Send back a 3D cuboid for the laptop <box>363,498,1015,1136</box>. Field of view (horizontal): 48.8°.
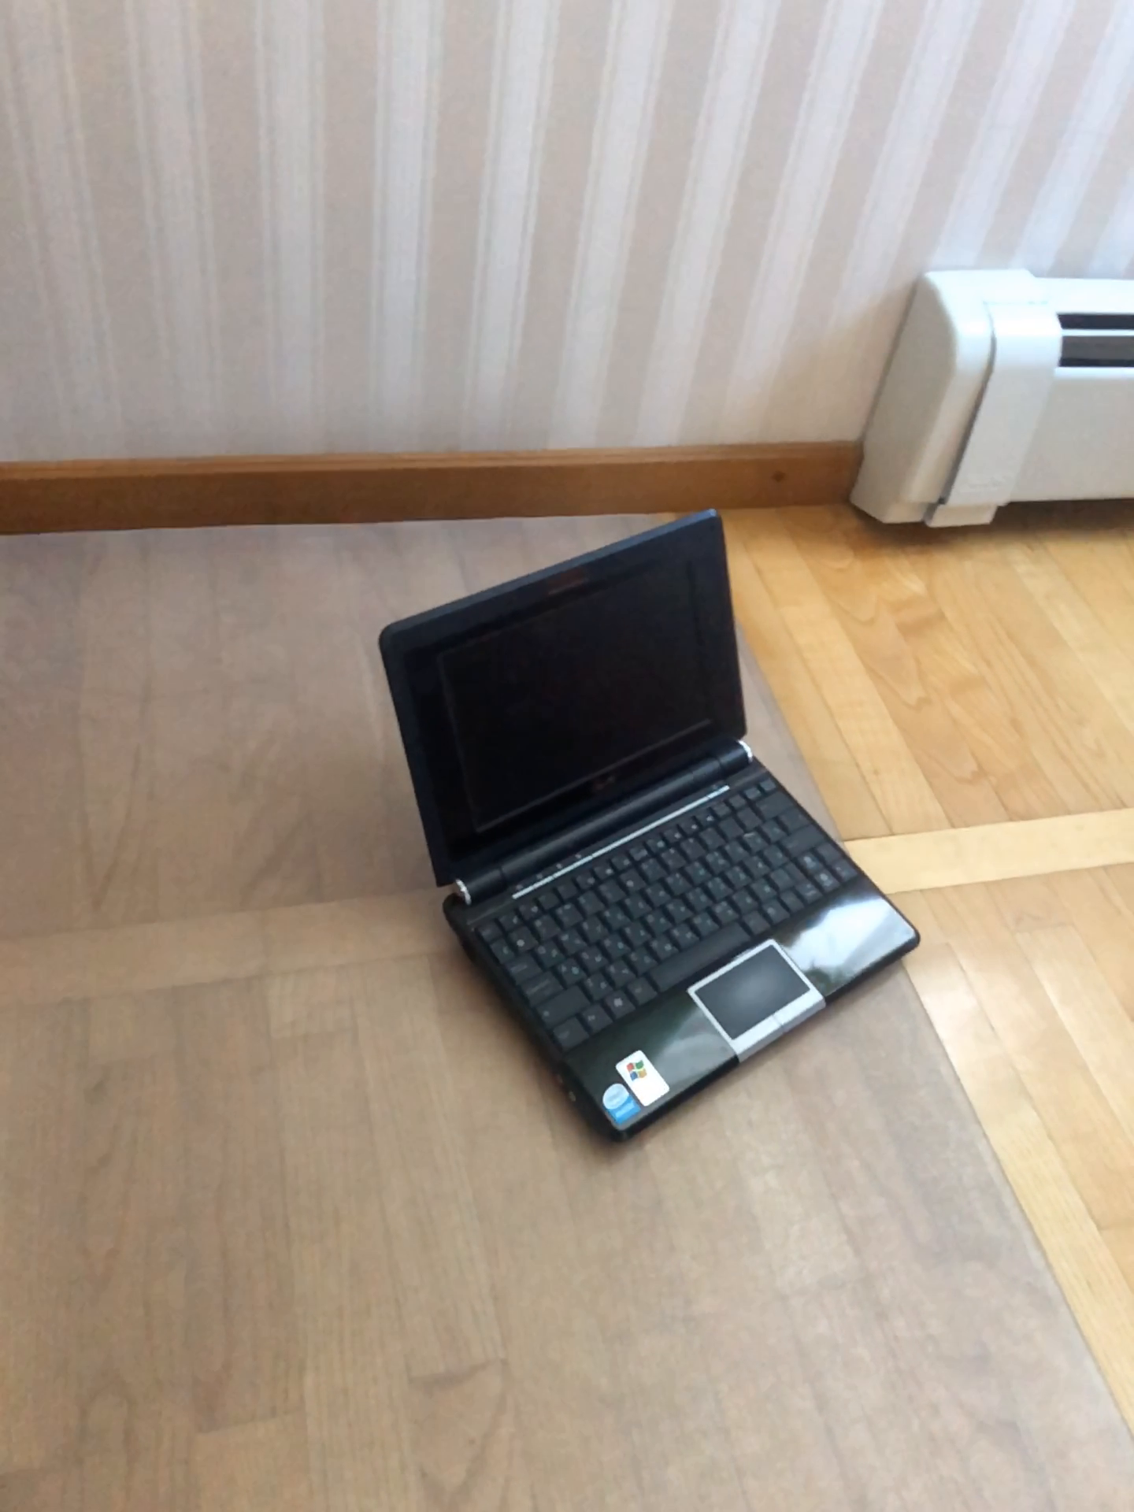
[{"bbox_3d":[0.062,0.020,0.776,0.265,0.159,0.276,-24,58,-30],"label":"laptop"}]
